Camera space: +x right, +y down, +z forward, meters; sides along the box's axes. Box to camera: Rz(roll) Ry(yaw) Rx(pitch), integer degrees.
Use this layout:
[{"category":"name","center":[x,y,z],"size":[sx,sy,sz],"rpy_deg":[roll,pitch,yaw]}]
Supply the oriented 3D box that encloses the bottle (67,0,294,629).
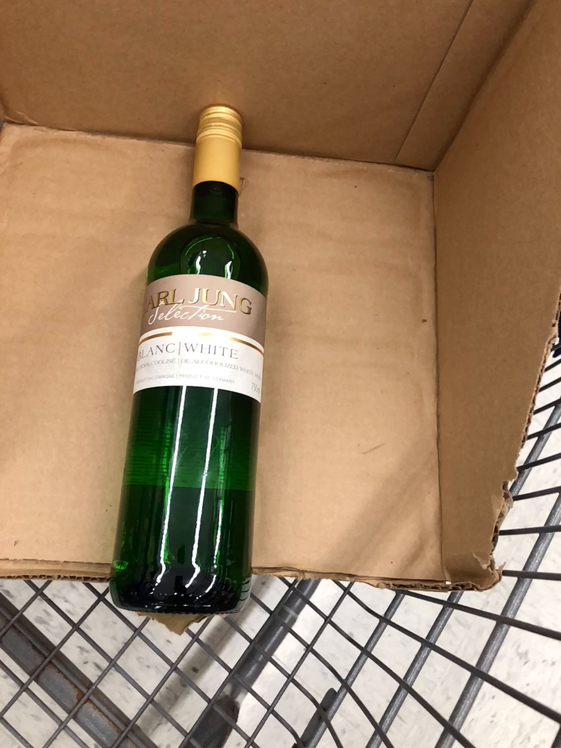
[{"category":"bottle","center":[-0.040,-0.041,0.353],"size":[0.080,0.100,0.331],"rpy_deg":[2,74,3]}]
